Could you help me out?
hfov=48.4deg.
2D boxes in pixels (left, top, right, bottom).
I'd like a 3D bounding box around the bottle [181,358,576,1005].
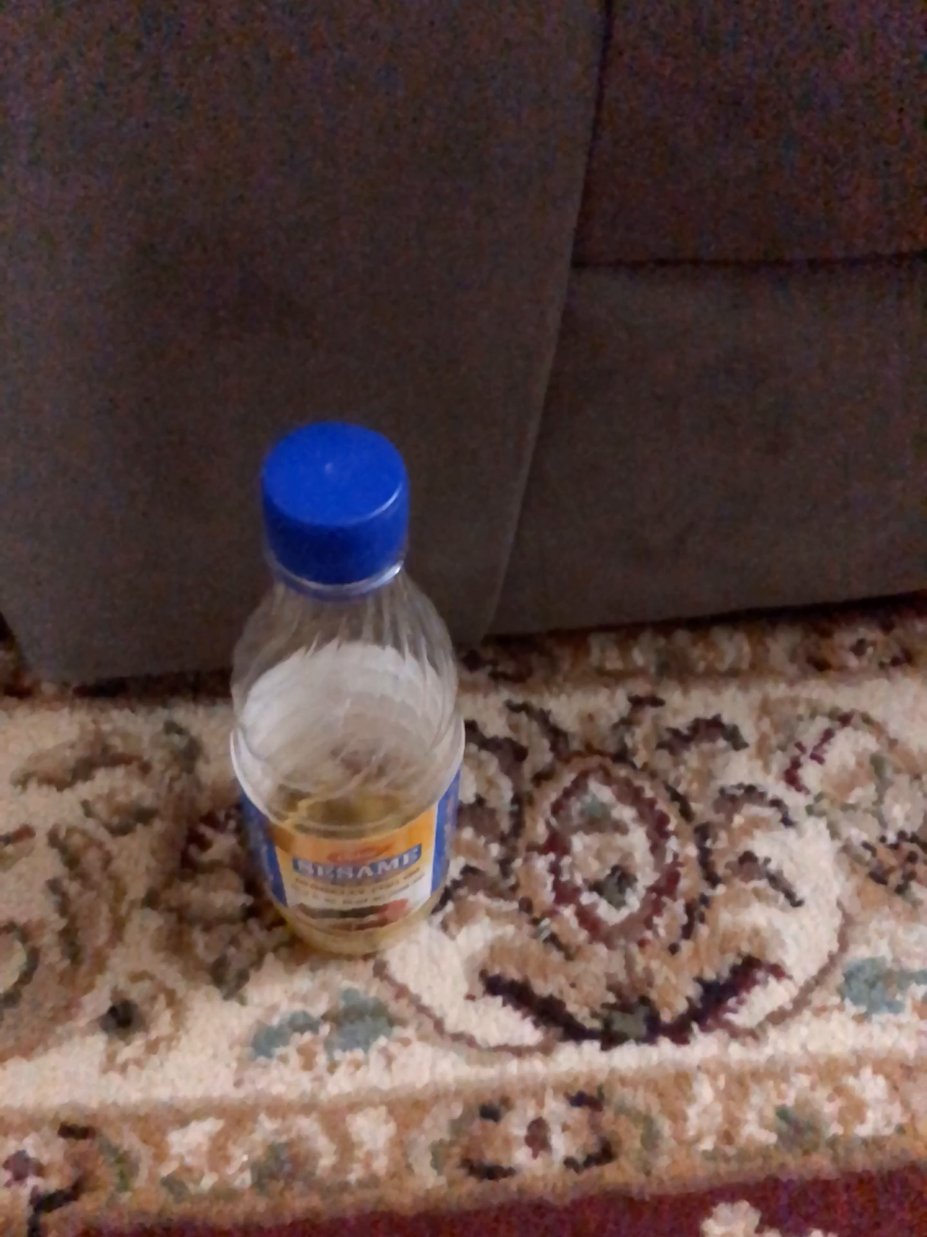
[{"bbox_3d":[-0.021,0.034,0.283,0.070,0.200,0.070,1,52,-1],"label":"bottle"}]
